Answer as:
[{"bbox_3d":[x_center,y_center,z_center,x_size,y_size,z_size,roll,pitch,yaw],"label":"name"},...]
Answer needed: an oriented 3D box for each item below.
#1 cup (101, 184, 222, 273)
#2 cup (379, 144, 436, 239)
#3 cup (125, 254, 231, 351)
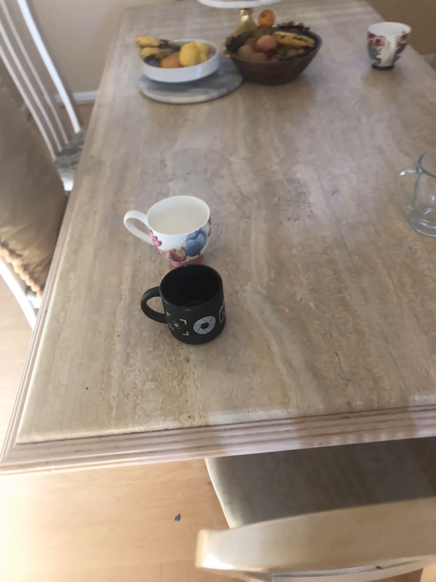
[{"bbox_3d":[-0.091,-0.108,0.828,0.170,0.099,0.101,6,47,12],"label":"cup"},{"bbox_3d":[0.368,-0.174,0.835,0.150,0.109,0.111,7,47,13],"label":"cup"},{"bbox_3d":[-0.054,0.018,0.732,0.130,0.109,0.091,3,46,9],"label":"cup"}]
